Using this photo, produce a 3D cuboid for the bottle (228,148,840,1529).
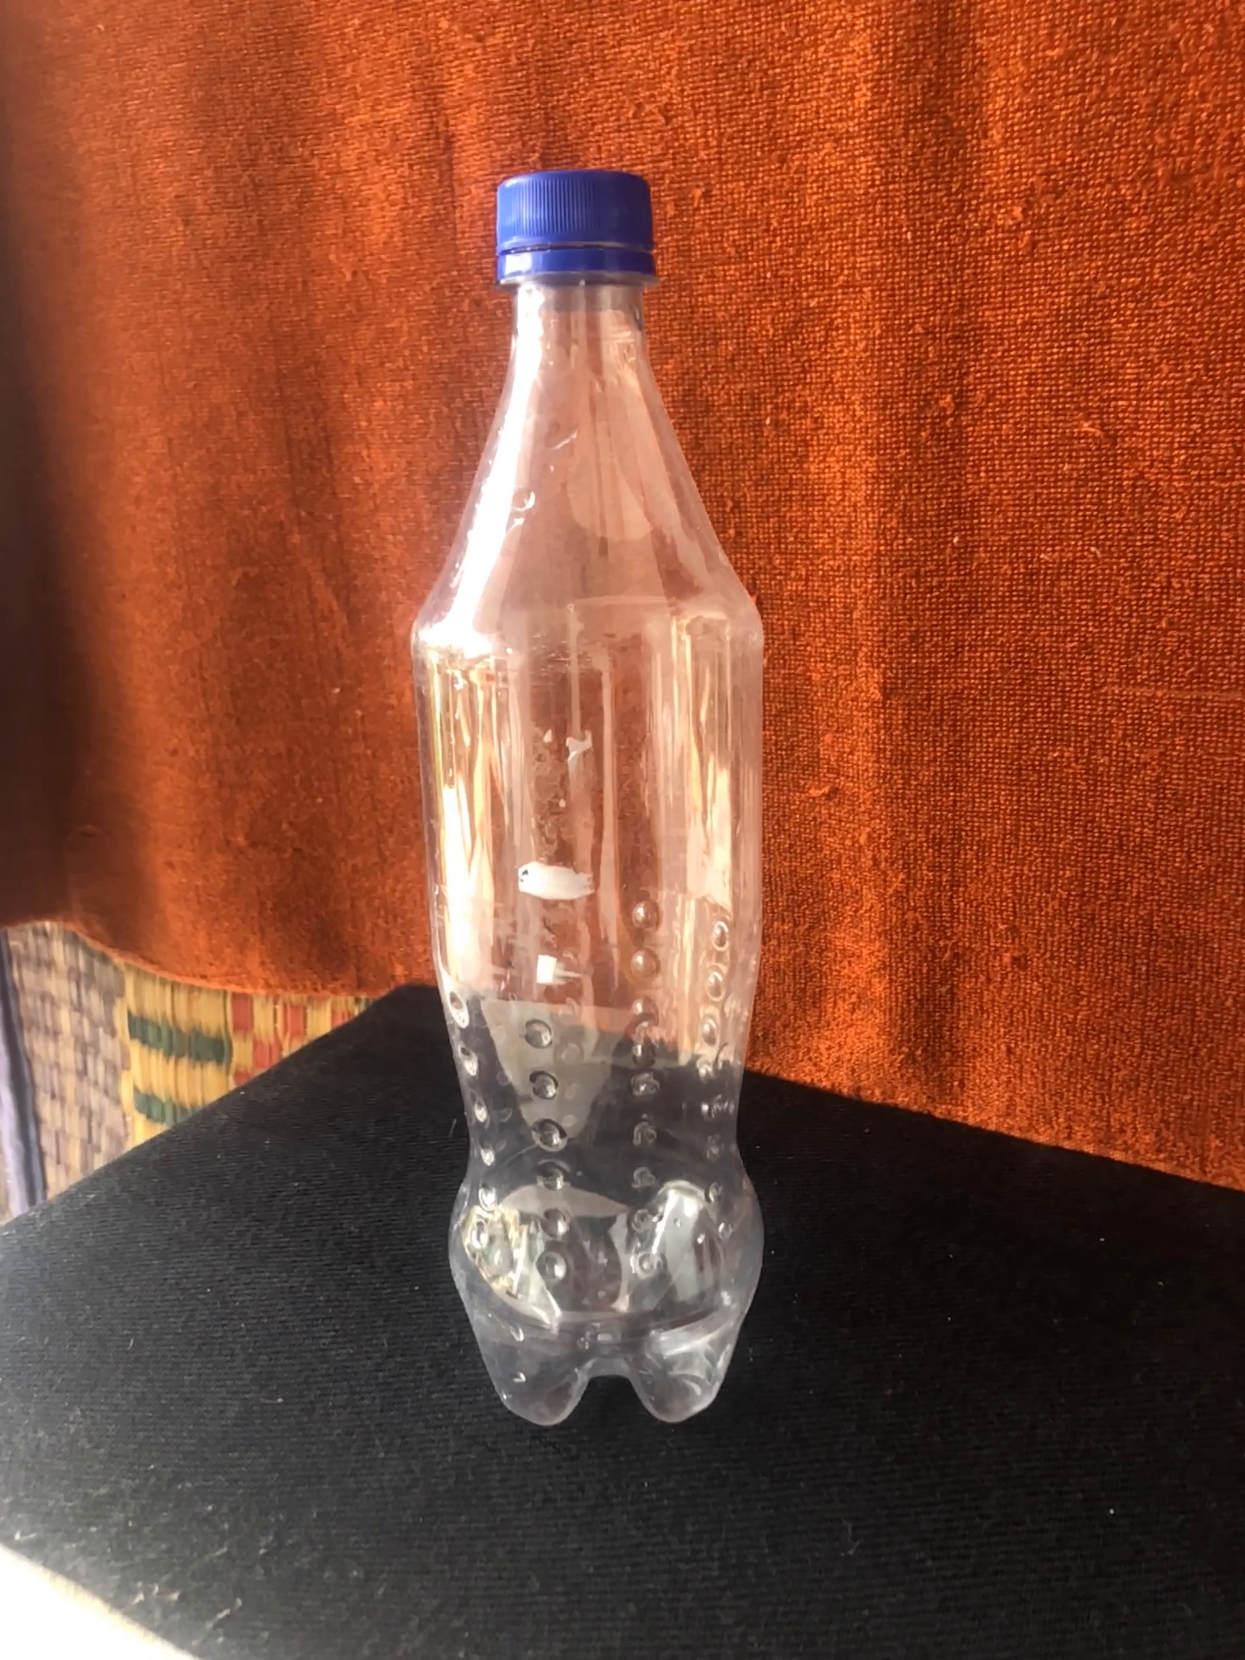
[{"bbox_3d":[-0.016,0.002,0.290,0.080,0.249,0.090,-12,20,-21],"label":"bottle"}]
